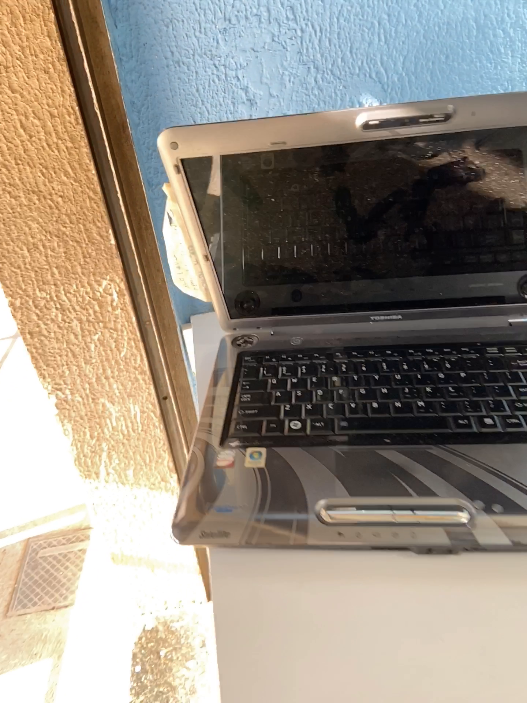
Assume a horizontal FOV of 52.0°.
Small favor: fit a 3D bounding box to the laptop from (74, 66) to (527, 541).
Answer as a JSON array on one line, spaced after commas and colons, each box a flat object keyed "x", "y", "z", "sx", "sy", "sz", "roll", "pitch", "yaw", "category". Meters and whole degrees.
[{"x": 0.109, "y": -0.046, "z": 0.405, "sx": 0.358, "sy": 0.235, "sz": 0.260, "roll": -2, "pitch": 33, "yaw": 7, "category": "laptop"}]
